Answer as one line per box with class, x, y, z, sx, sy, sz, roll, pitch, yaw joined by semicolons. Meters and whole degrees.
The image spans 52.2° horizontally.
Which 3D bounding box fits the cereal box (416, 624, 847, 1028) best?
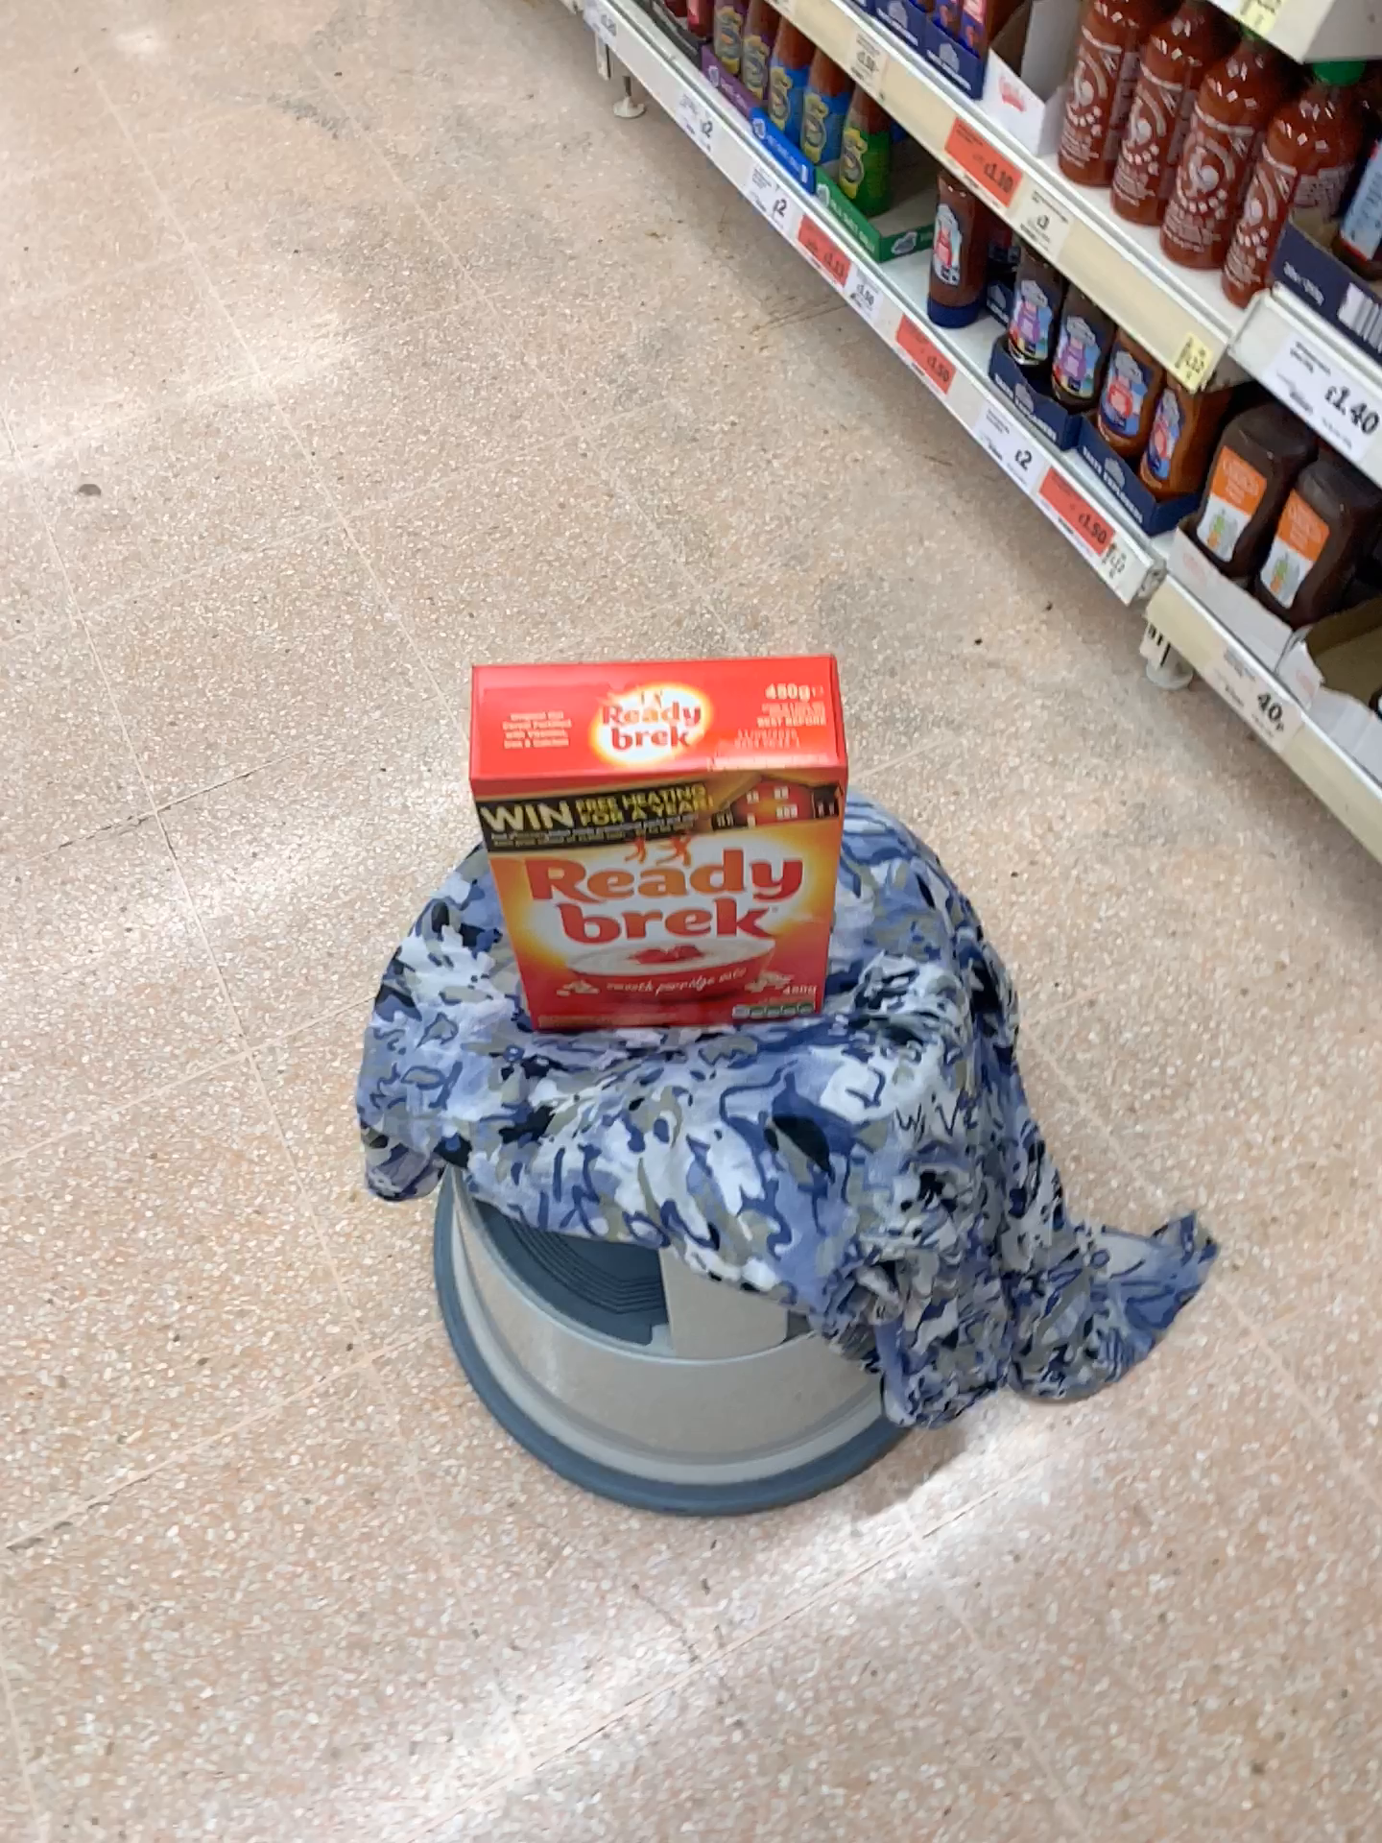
cereal box;-0.020;-0.033;0.672;0.170;0.238;0.060;-1;58;1
